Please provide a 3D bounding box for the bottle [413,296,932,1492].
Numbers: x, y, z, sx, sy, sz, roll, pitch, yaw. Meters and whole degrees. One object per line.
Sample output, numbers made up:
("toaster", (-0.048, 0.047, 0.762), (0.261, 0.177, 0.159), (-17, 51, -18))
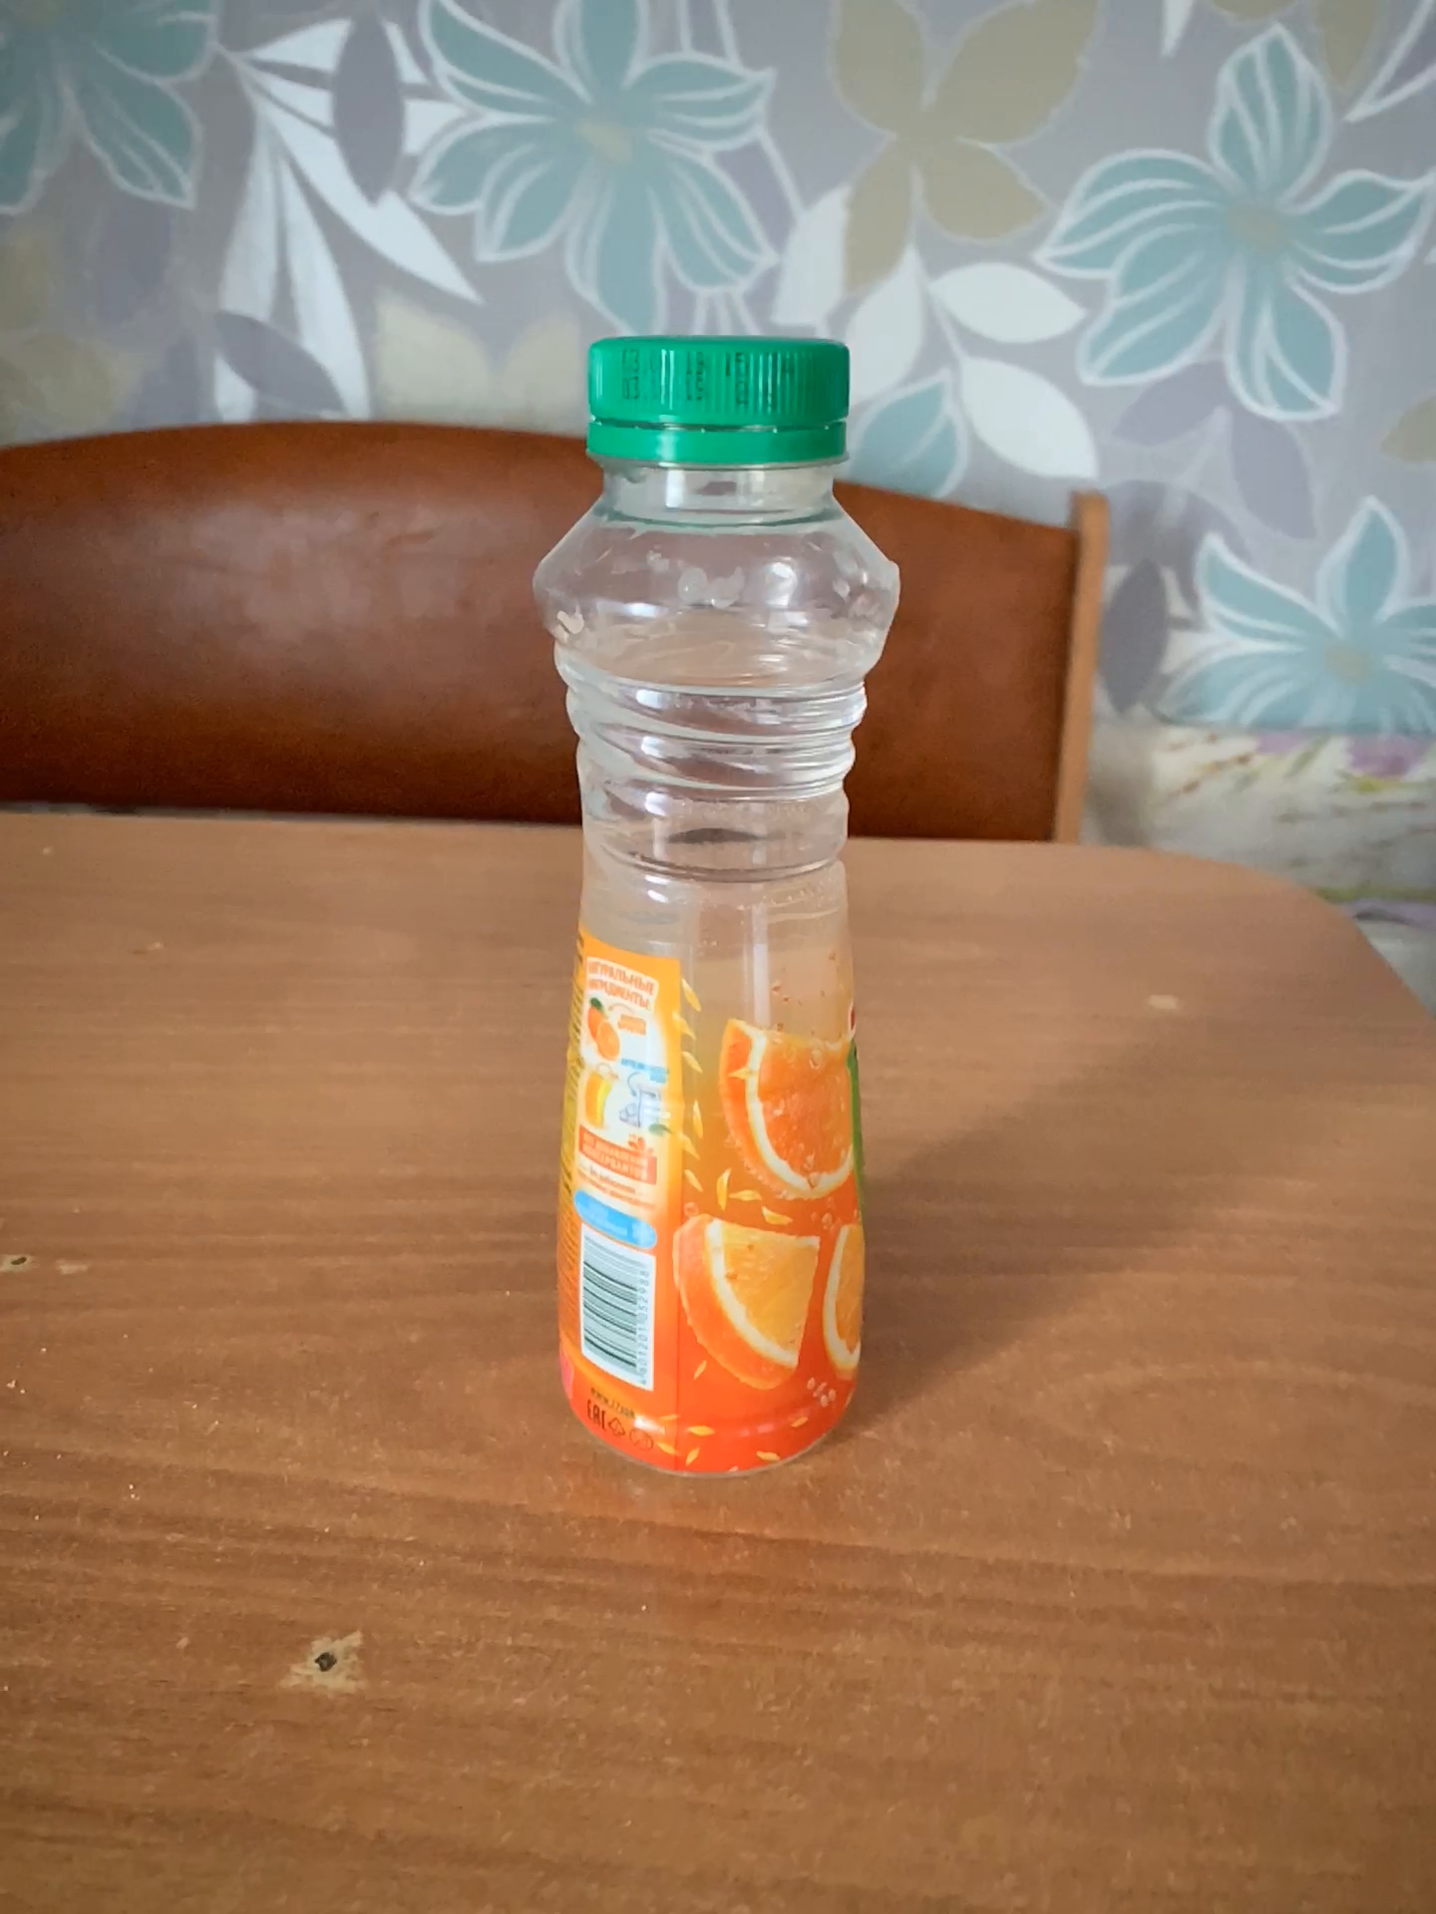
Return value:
("bottle", (-0.004, -0.009, 0.271), (0.070, 0.201, 0.071), (1, 24, 0))
